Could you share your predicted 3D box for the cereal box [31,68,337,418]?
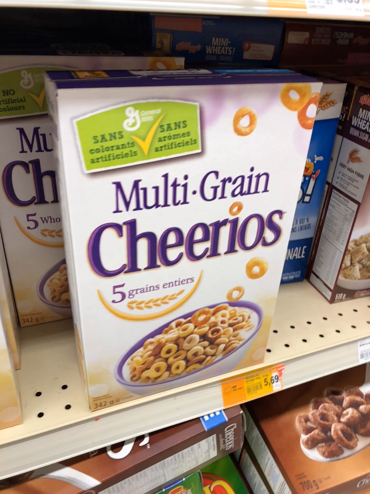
[{"bbox_3d":[-0.005,0.002,0.349,0.200,0.278,0.060,-9,33,-20],"label":"cereal box"}]
